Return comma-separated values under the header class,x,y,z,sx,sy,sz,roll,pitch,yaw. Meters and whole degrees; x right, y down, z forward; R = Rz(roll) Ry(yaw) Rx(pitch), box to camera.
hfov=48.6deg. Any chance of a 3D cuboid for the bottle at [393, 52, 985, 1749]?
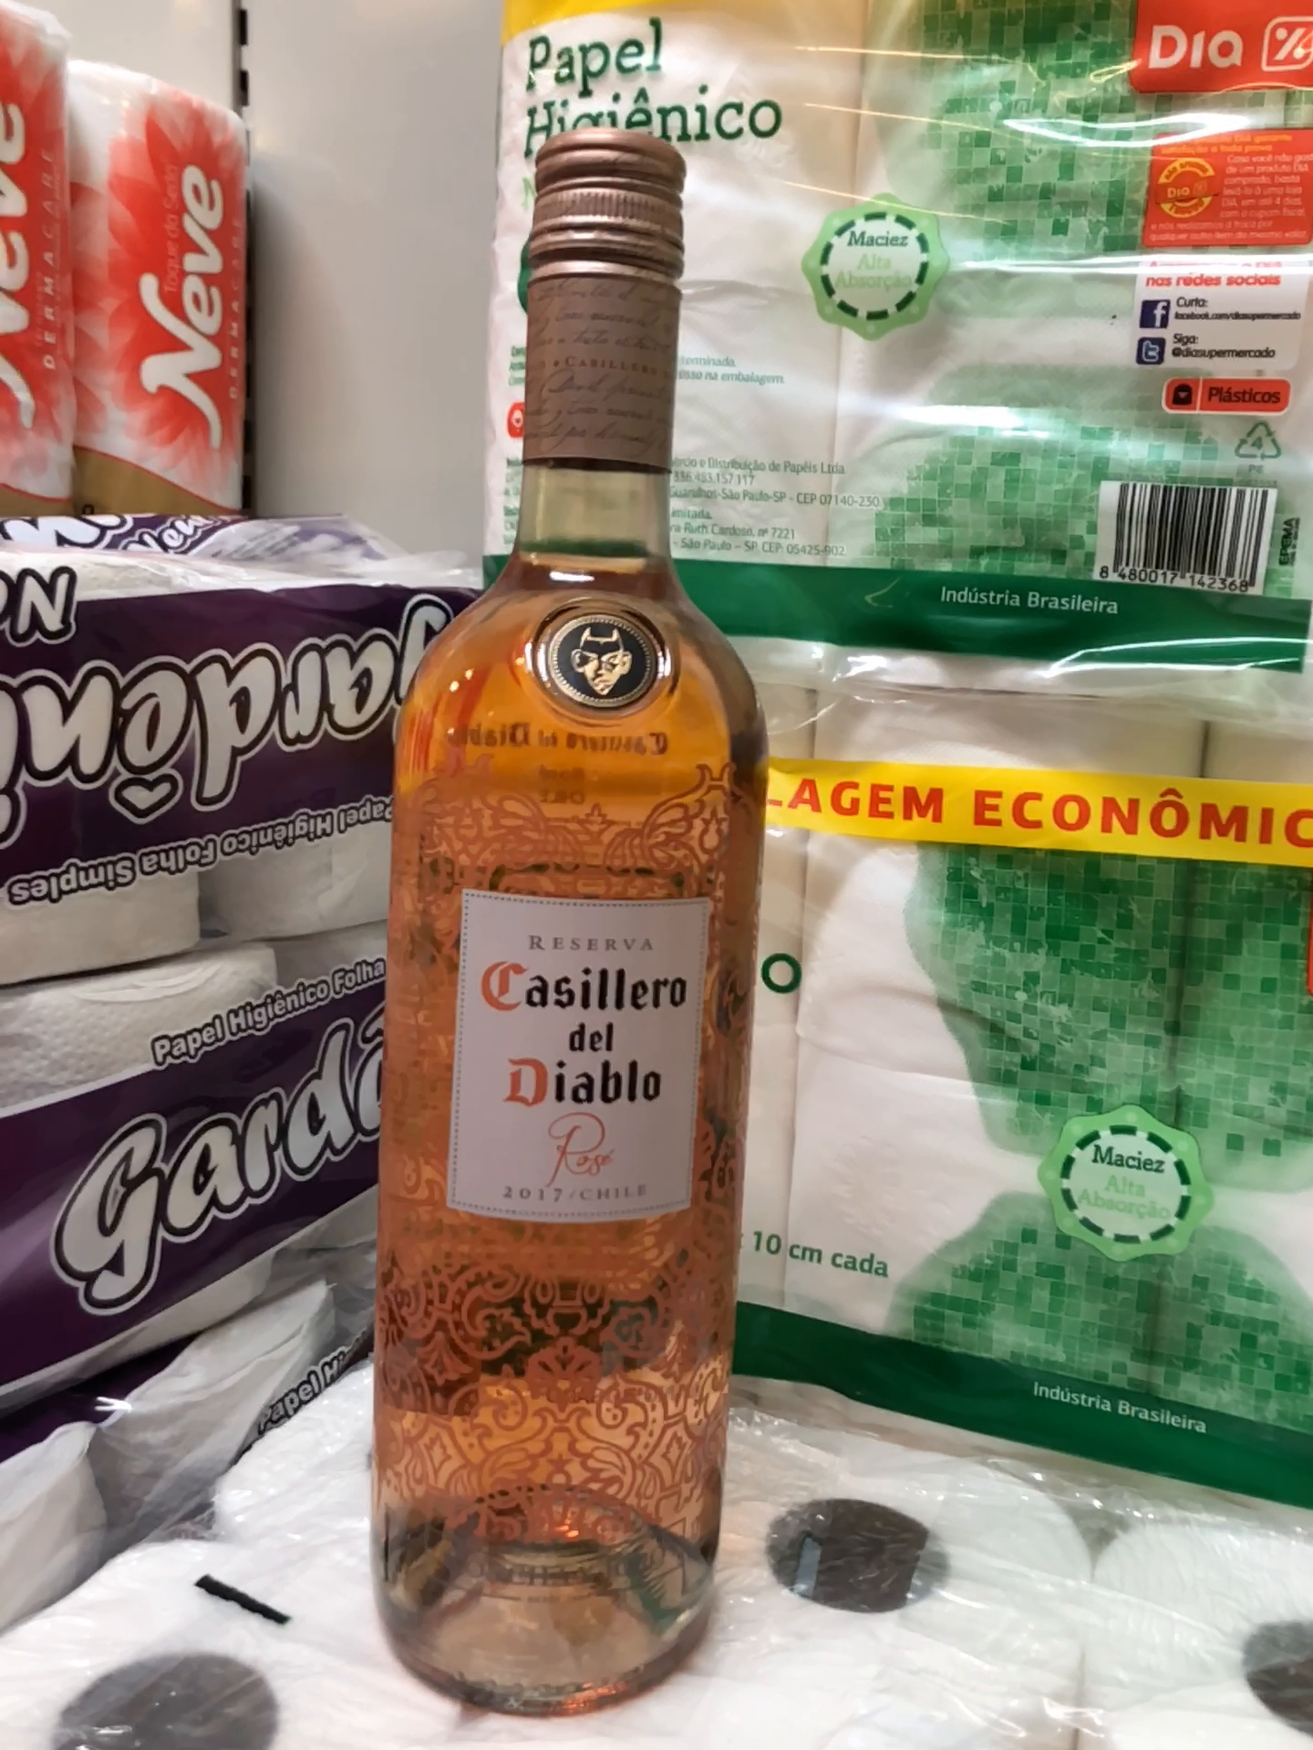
class,x,y,z,sx,sy,sz,roll,pitch,yaw
bottle,0.001,0.021,0.285,0.090,0.309,0.080,2,9,0
